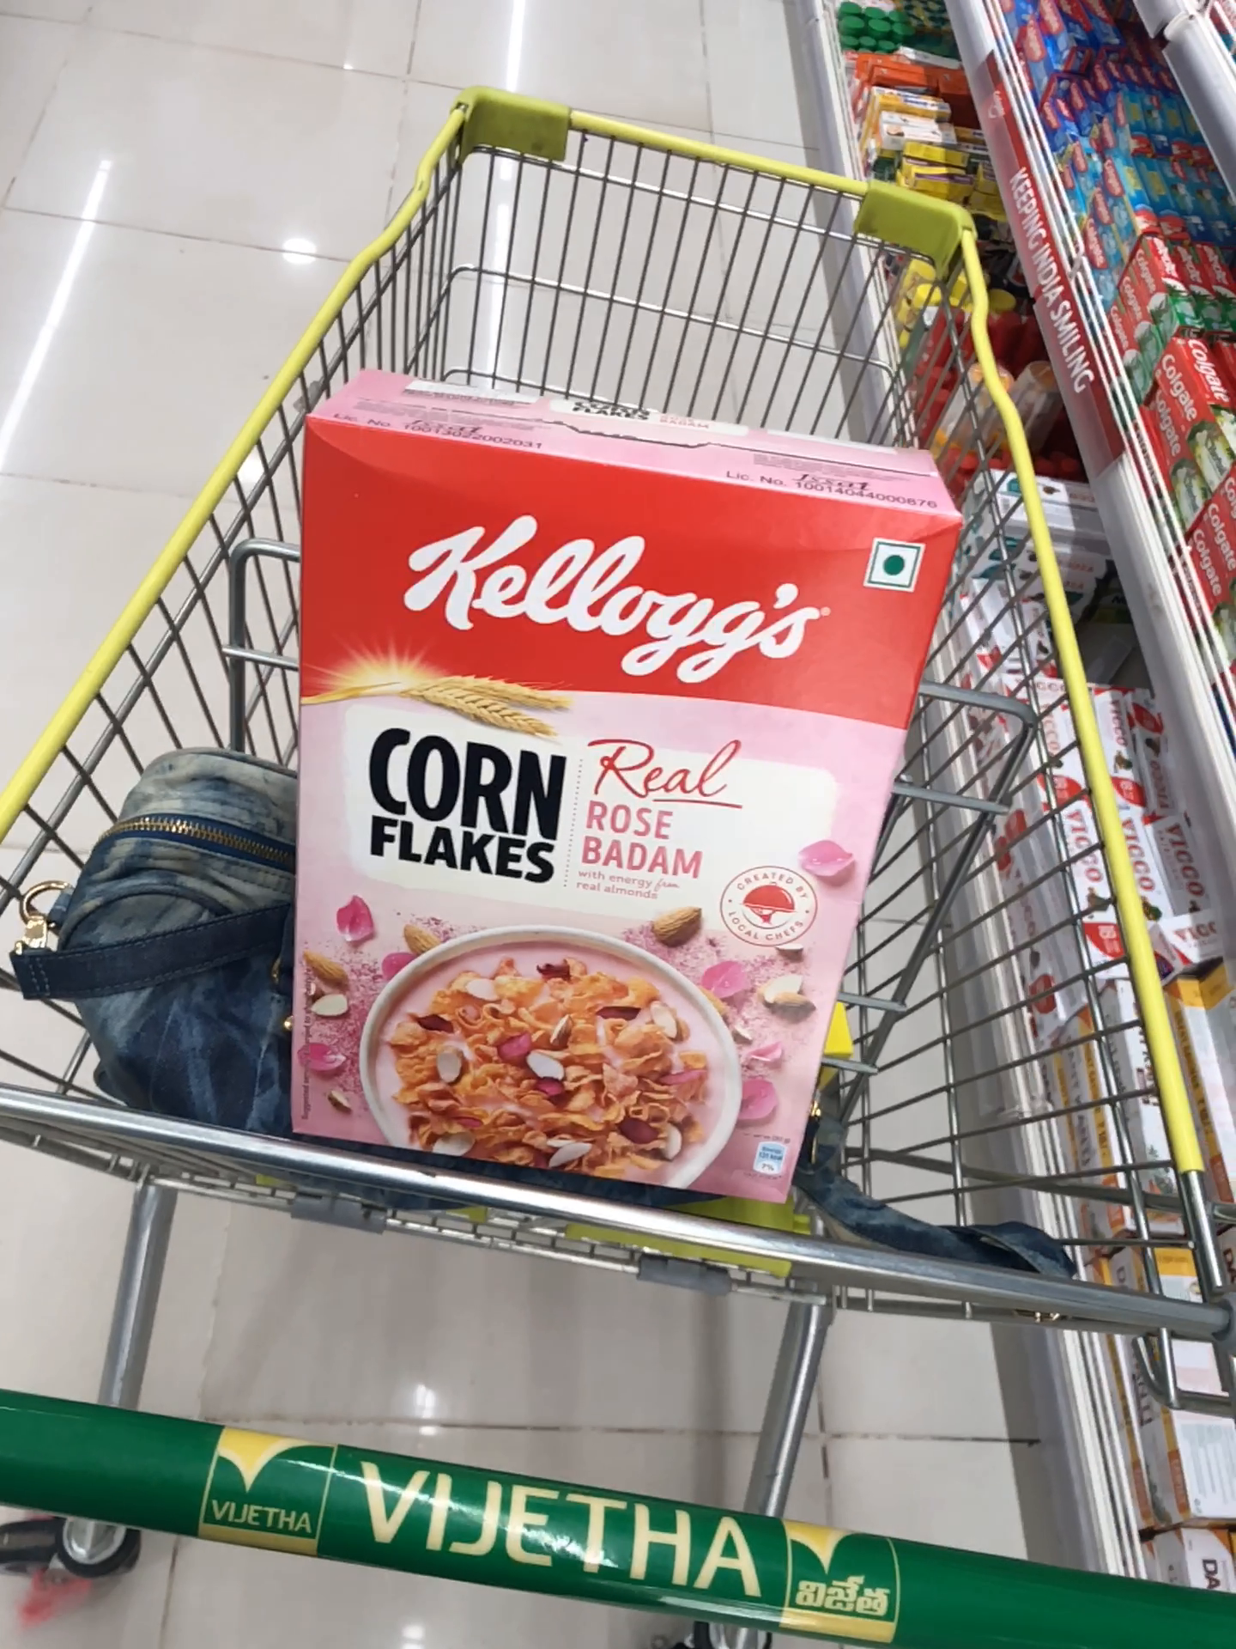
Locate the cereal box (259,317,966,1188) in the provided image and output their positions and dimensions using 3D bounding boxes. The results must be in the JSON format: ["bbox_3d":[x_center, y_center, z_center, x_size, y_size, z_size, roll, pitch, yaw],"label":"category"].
[{"bbox_3d":[-0.017,-0.008,0.472,0.190,0.279,0.070,8,34,-1],"label":"cereal box"}]
